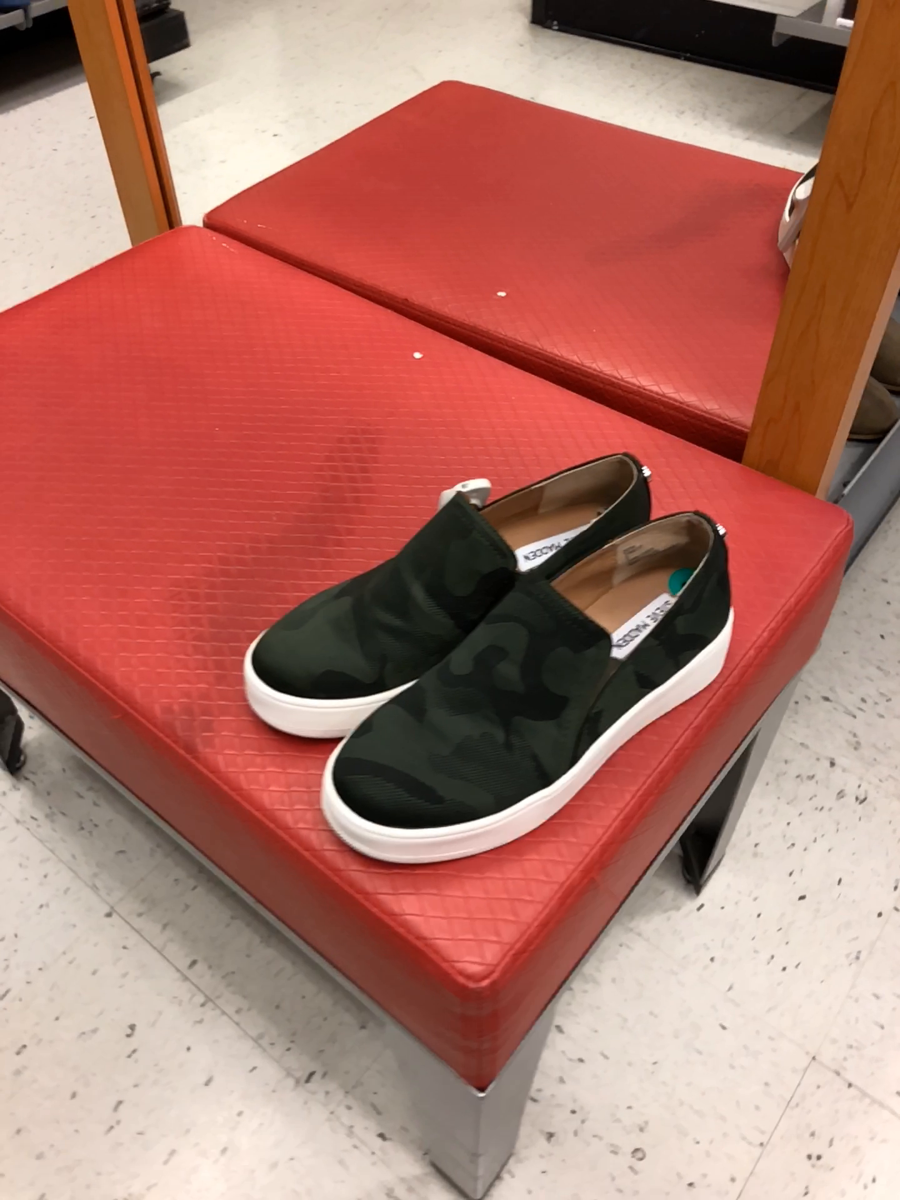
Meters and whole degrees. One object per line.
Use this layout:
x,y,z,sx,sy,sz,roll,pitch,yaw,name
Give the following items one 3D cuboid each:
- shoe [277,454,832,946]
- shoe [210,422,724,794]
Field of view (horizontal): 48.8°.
0.061,0.039,0.523,0.276,0.086,0.106,-31,53,-25,shoe
0.016,-0.002,0.566,0.276,0.086,0.077,-24,51,-19,shoe
